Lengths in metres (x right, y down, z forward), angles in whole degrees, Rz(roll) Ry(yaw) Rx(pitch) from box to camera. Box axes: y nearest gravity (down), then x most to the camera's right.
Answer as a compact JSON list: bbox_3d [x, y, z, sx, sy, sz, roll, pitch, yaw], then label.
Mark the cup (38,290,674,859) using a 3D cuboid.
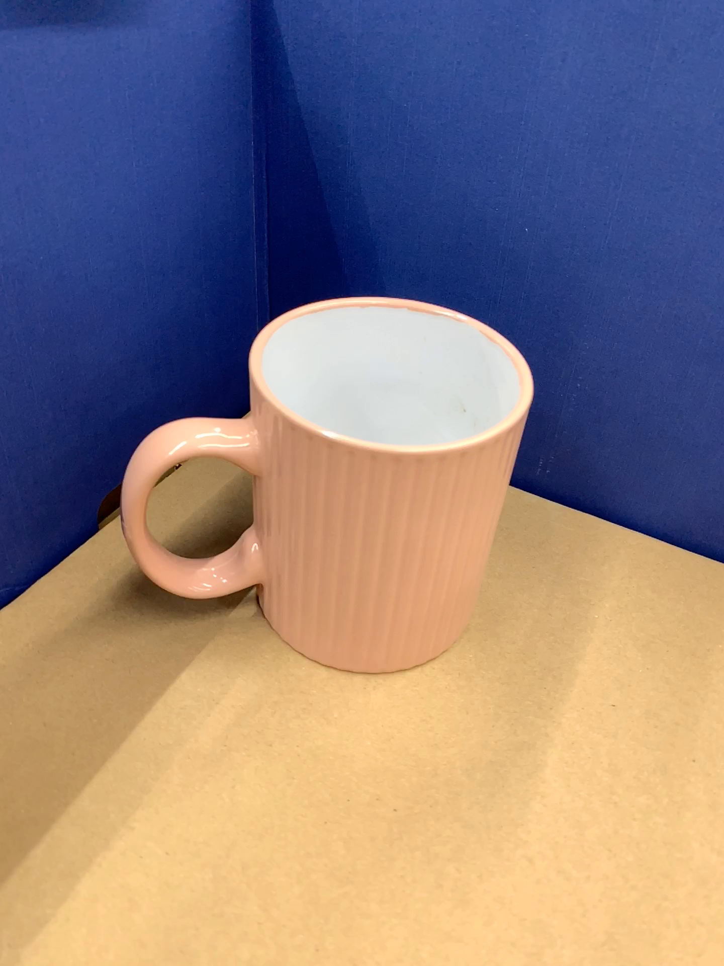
[{"bbox_3d":[-0.012,0.018,0.245,0.154,0.128,0.102,-7,33,-18],"label":"cup"}]
